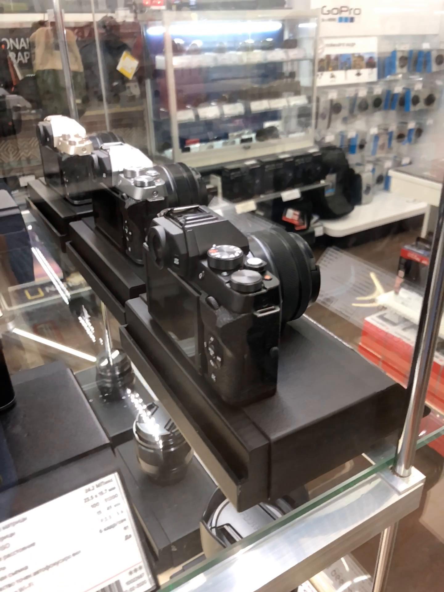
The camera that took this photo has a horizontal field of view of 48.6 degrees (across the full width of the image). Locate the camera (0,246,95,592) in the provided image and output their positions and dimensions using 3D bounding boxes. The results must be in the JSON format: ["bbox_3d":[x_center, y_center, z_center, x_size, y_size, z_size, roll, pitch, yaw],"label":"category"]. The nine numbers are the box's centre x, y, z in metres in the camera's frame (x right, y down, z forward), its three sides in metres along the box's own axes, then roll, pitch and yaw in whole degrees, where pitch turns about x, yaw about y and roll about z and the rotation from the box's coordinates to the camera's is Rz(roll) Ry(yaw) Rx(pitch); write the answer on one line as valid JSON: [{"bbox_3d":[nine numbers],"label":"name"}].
[{"bbox_3d":[-0.132,0.041,0.202,0.120,0.069,0.100,-17,32,-29],"label":"camera"}]

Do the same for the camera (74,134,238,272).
[{"bbox_3d":[-0.060,-0.089,0.437,0.099,0.078,0.120,-16,32,-26],"label":"camera"}]

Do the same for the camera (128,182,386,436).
[{"bbox_3d":[0.013,-0.004,0.297,0.095,0.090,0.120,-15,31,-25],"label":"camera"}]
